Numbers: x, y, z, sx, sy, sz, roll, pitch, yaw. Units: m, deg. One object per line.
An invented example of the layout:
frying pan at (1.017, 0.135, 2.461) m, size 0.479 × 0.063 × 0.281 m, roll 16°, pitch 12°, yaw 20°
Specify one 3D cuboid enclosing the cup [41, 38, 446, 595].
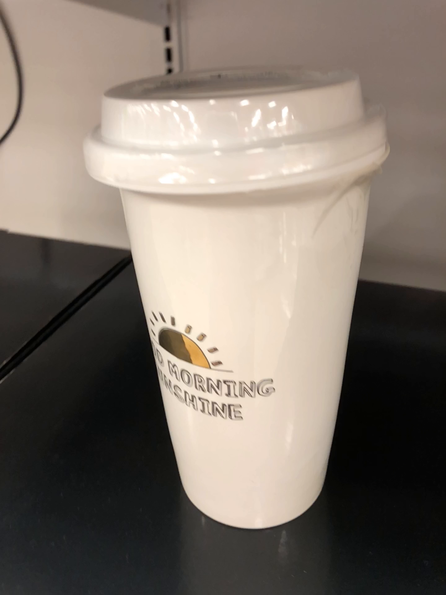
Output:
cup at (0.012, -0.003, 0.182) m, size 0.100 × 0.149 × 0.100 m, roll -1°, pitch 32°, yaw 1°
